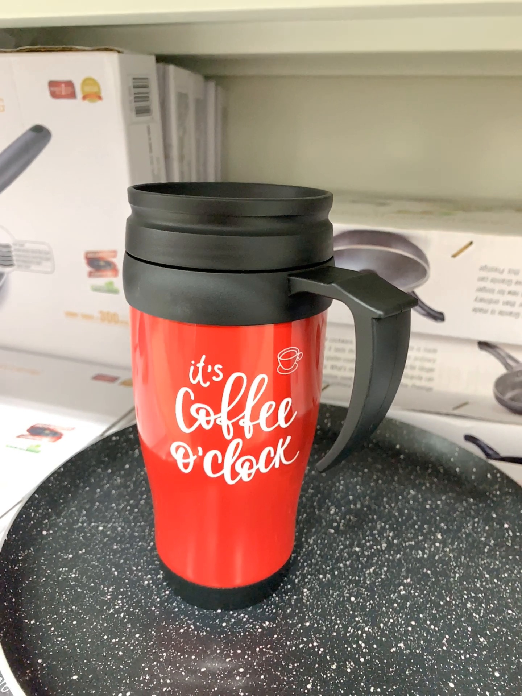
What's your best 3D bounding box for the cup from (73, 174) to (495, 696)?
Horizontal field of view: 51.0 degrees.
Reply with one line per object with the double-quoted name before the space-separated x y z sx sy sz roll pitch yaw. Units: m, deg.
"cup" 0.005 0.022 0.222 0.120 0.169 0.090 16 23 35
